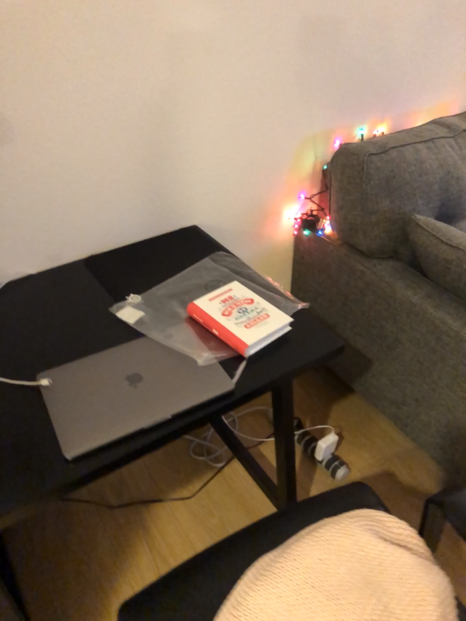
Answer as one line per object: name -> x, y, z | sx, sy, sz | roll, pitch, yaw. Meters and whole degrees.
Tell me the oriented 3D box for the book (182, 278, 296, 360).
book -> 0.011, 0.010, 1.056 | 0.141, 0.030, 0.191 | -29, 46, -33
